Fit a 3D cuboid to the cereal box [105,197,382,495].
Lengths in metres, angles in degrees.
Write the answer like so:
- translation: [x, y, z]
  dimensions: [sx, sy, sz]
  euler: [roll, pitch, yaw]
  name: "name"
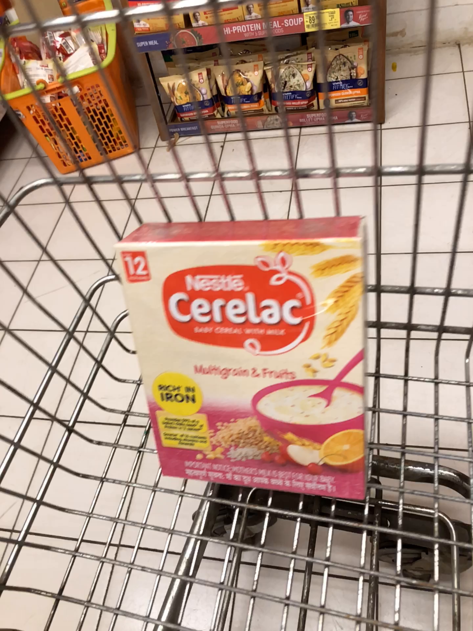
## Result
- translation: [0.014, 0.023, 0.354]
  dimensions: [0.160, 0.189, 0.050]
  euler: [1, 27, 16]
  name: "cereal box"
